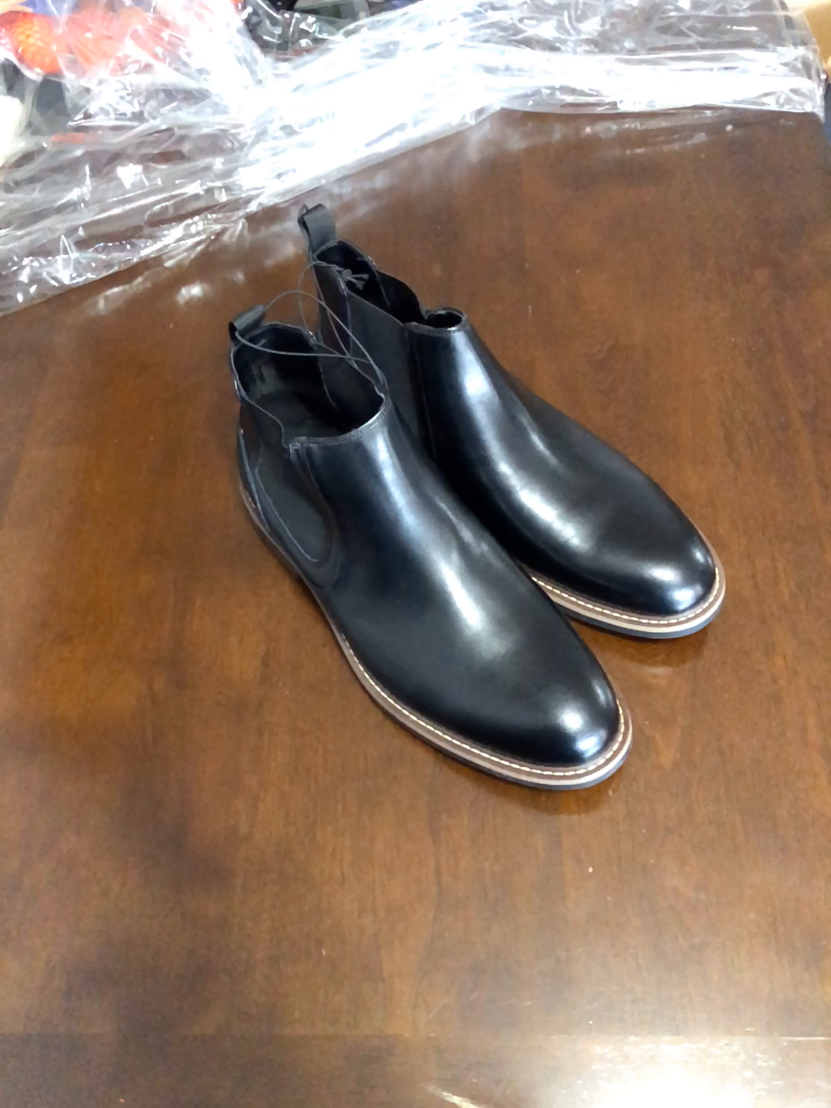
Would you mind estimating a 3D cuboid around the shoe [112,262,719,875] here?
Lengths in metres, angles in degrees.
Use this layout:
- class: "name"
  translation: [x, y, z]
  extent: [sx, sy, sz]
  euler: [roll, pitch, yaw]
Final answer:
- class: "shoe"
  translation: [-0.008, 0.004, 0.510]
  extent: [0.120, 0.170, 0.300]
  euler: [-40, 62, -17]

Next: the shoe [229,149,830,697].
- class: "shoe"
  translation: [0.057, -0.080, 0.540]
  extent: [0.300, 0.170, 0.120]
  euler: [34, 68, 24]
